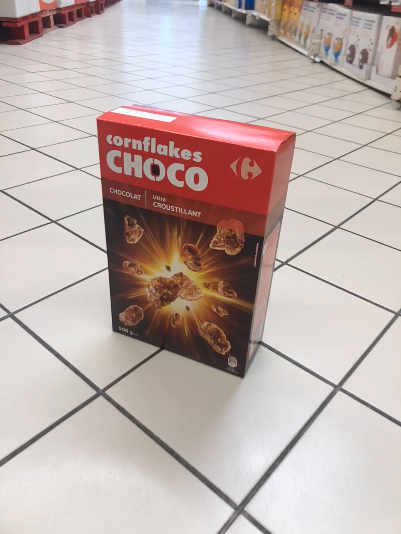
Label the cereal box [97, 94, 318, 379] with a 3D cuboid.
[{"bbox_3d":[0.000,-0.034,0.509,0.200,0.278,0.091,16,34,19],"label":"cereal box"}]
